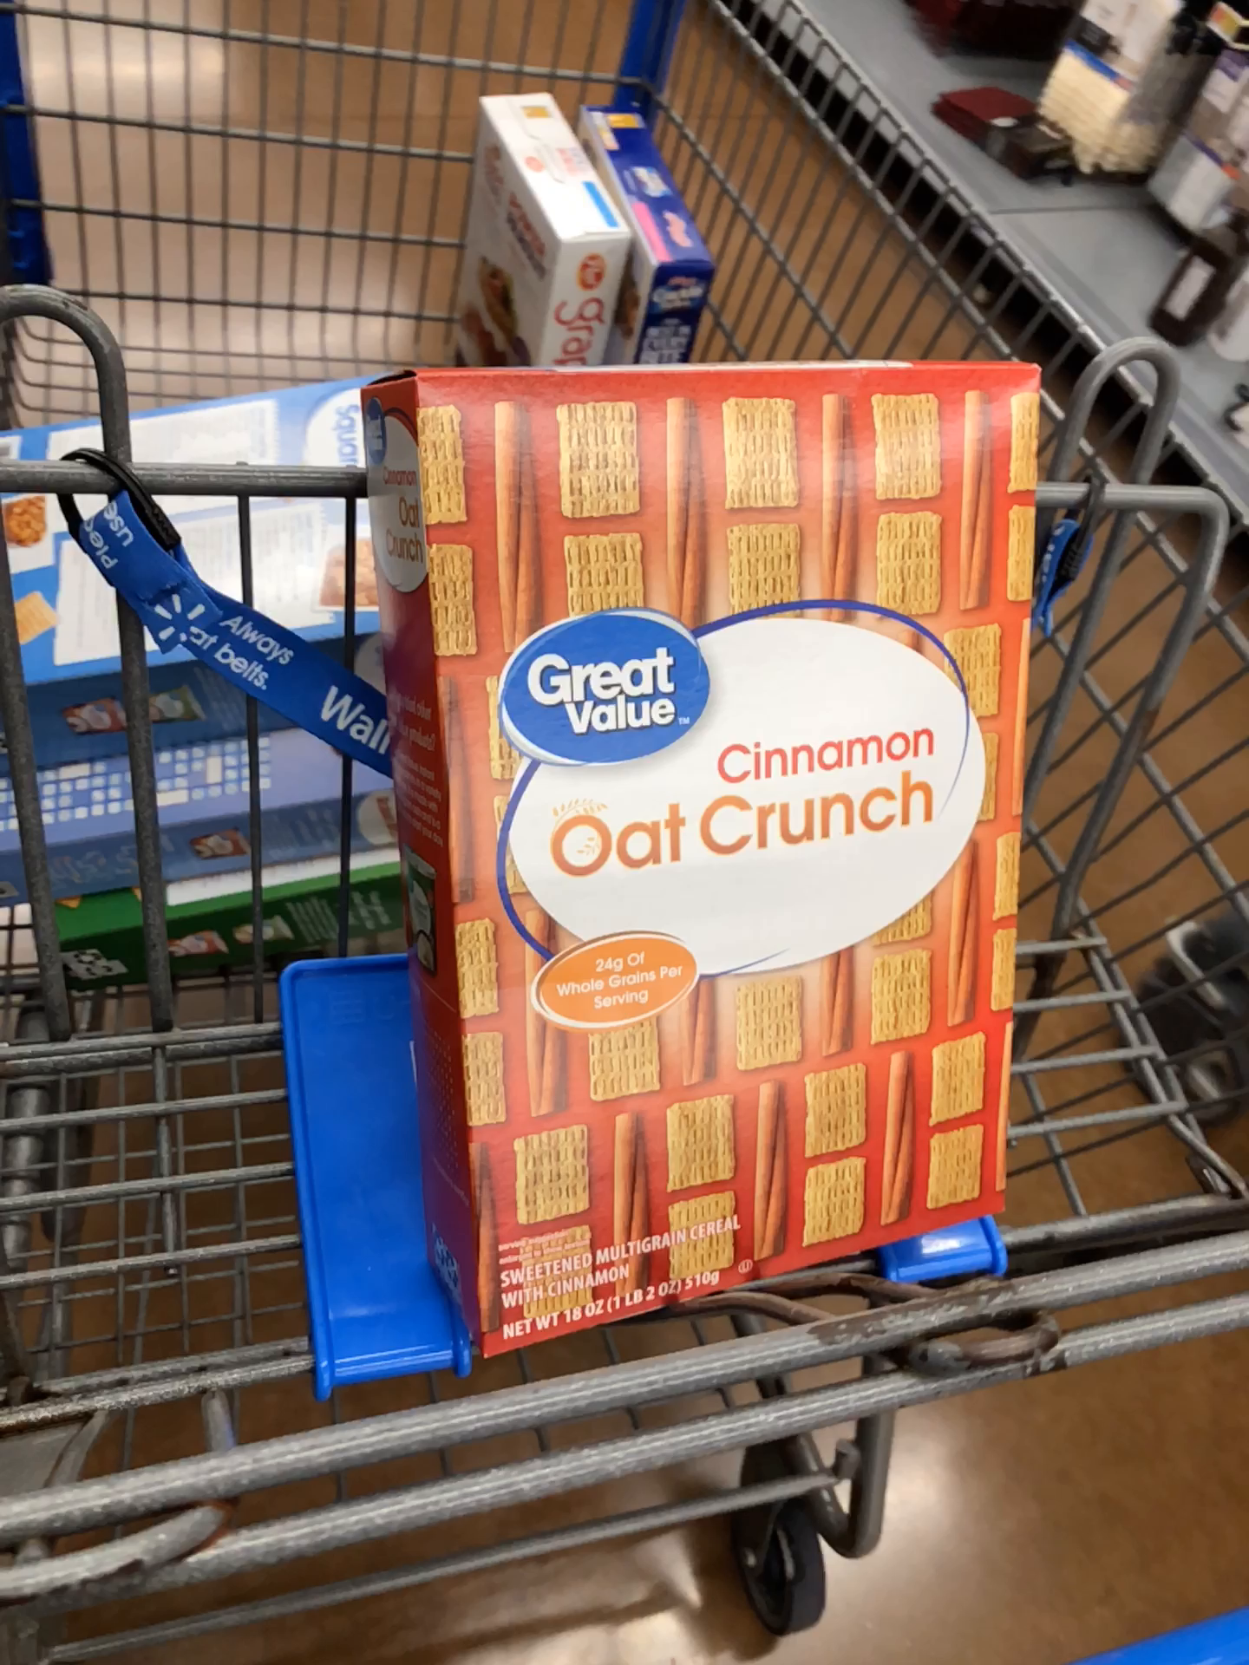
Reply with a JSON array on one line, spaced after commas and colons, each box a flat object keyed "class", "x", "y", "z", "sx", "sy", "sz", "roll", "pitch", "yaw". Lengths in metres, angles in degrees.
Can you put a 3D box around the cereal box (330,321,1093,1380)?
[{"class": "cereal box", "x": 0.029, "y": -0.002, "z": 0.419, "sx": 0.200, "sy": 0.280, "sz": 0.070, "roll": -8, "pitch": 17, "yaw": -22}]
